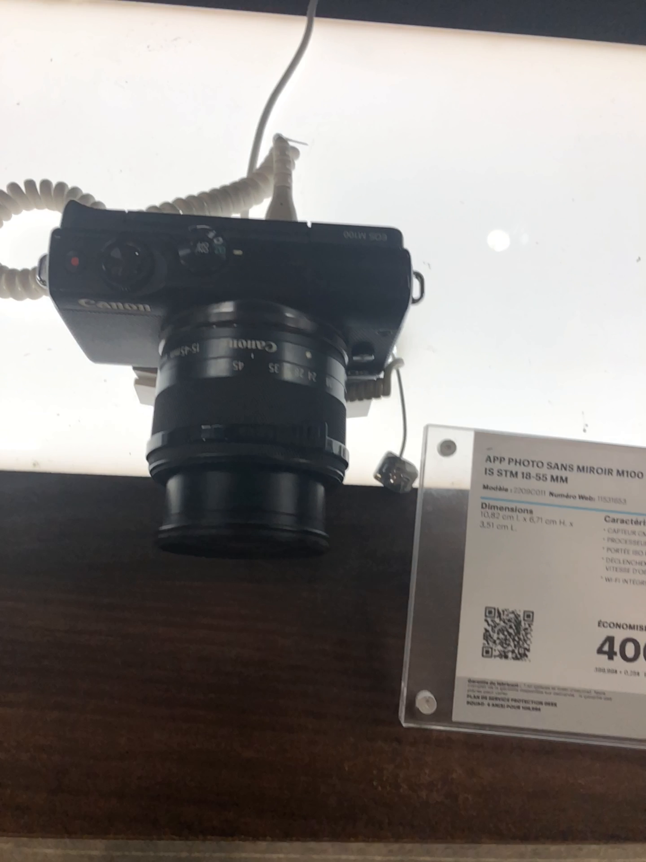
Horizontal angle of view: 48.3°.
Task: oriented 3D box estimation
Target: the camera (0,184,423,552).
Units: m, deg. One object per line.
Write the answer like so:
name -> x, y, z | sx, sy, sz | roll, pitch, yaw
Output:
camera -> -0.030, -0.016, 0.240 | 0.112, 0.071, 0.094 | 3, 68, -3
